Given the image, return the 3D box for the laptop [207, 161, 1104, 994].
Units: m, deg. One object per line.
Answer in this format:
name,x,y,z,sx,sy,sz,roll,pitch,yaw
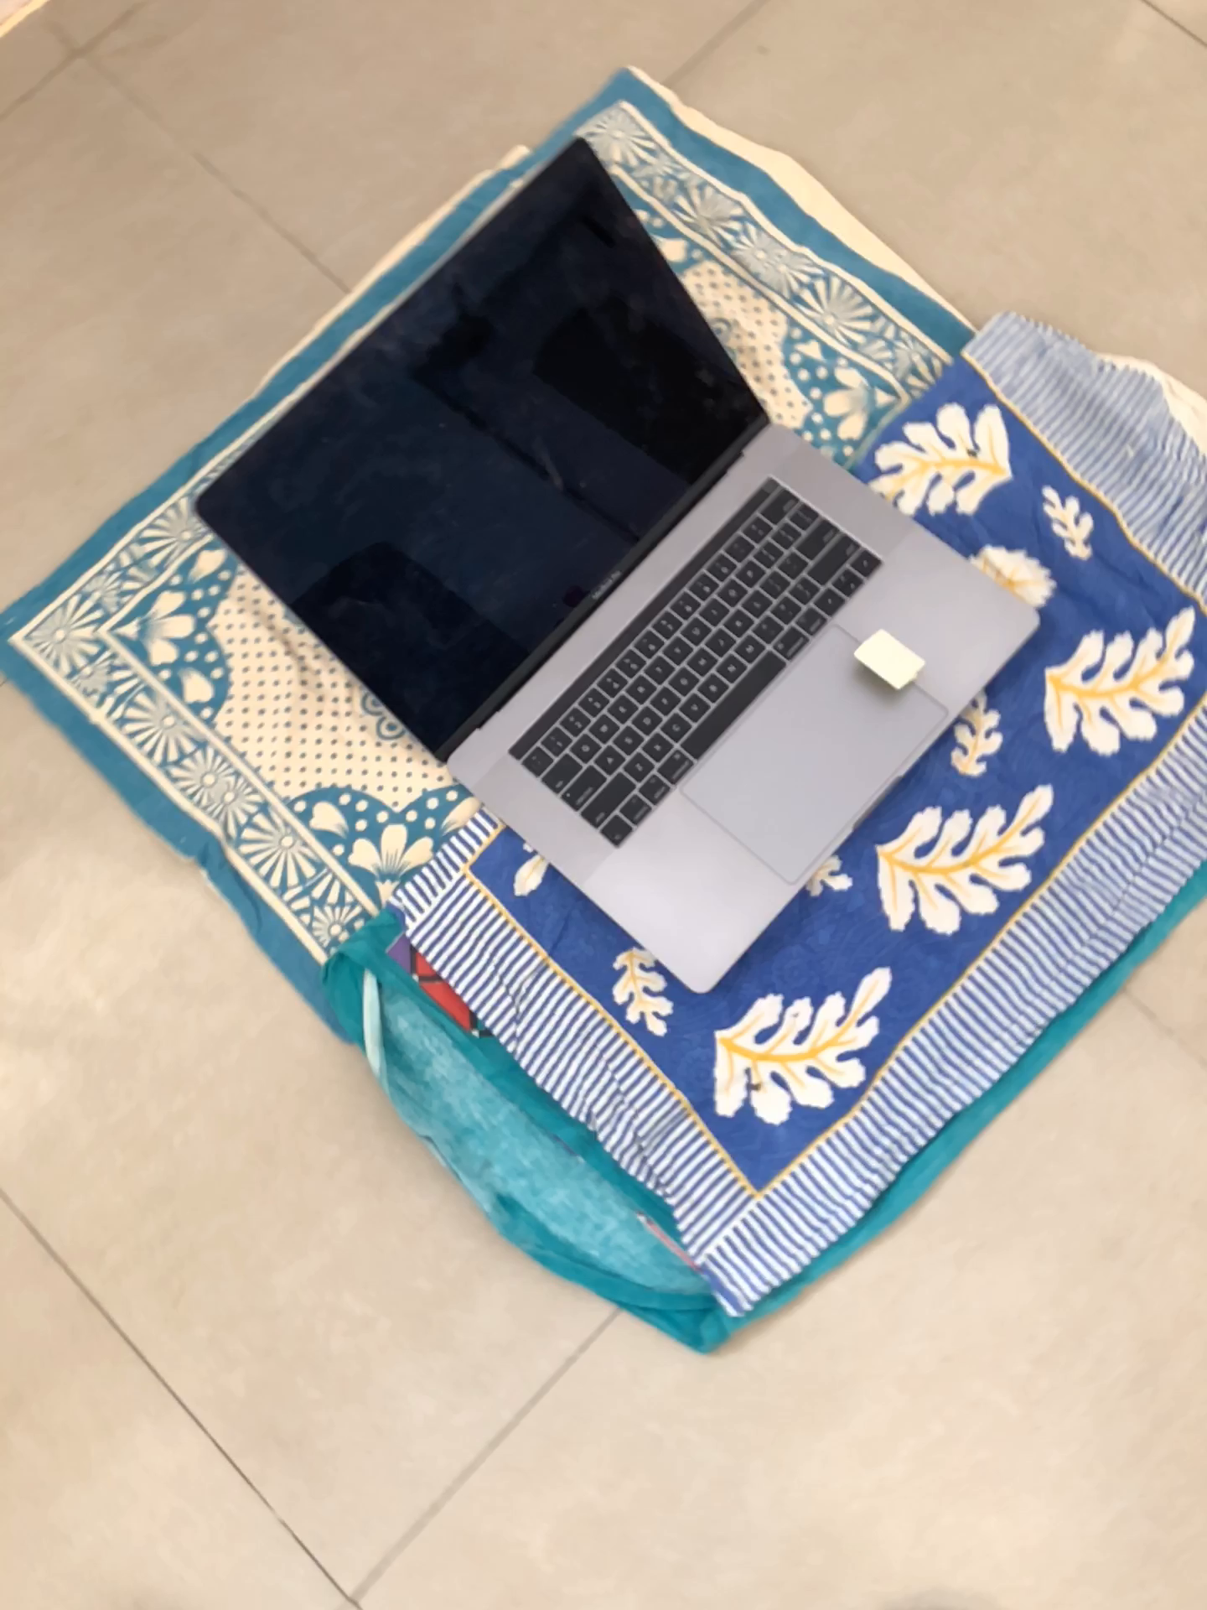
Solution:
laptop,0.026,-0.146,0.835,0.401,0.132,0.336,41,81,13
